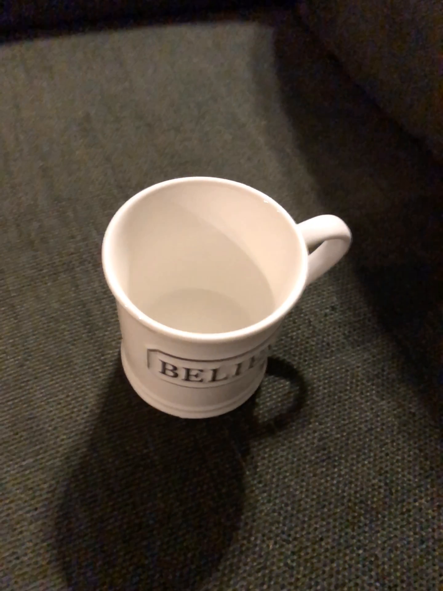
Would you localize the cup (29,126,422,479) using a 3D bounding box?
[{"bbox_3d":[-0.002,0.002,0.257,0.140,0.100,0.100,-23,61,-19],"label":"cup"}]
